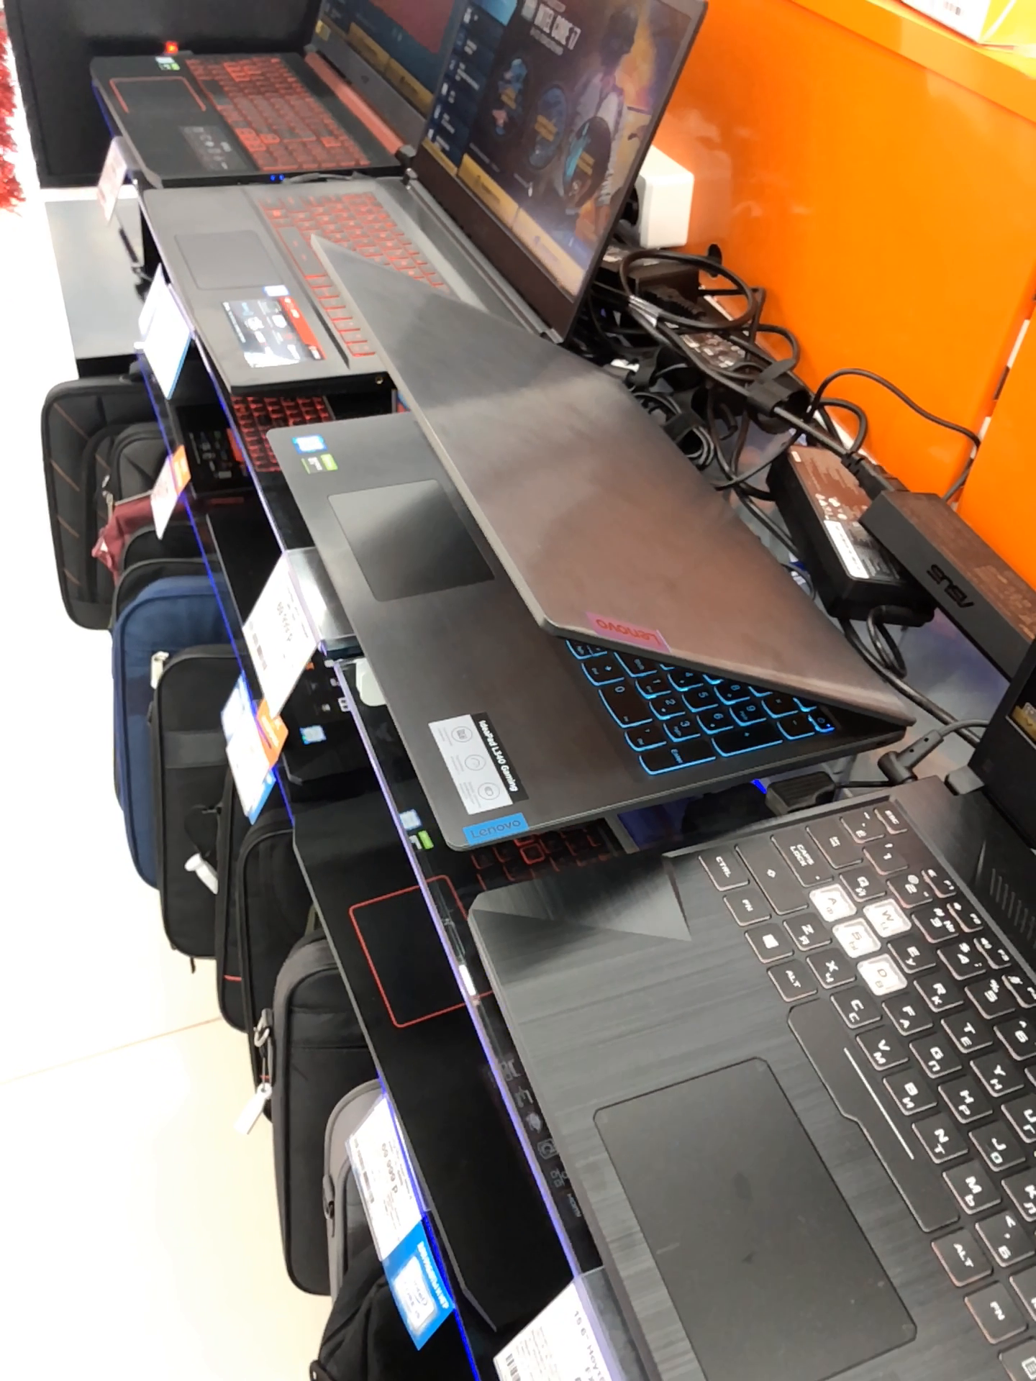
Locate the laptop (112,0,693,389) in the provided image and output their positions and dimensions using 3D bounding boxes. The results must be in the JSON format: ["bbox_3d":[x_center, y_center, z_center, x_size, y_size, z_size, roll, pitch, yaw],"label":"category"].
[{"bbox_3d":[-0.105,-0.445,0.883,0.325,0.228,0.349,-12,46,-20],"label":"laptop"}]

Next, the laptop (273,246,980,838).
[{"bbox_3d":[0.025,-0.112,0.621,0.241,0.118,0.349,-11,43,-18],"label":"laptop"}]

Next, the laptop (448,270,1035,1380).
[{"bbox_3d":[0.181,0.093,0.306,0.277,0.250,0.385,-10,44,-18],"label":"laptop"}]
